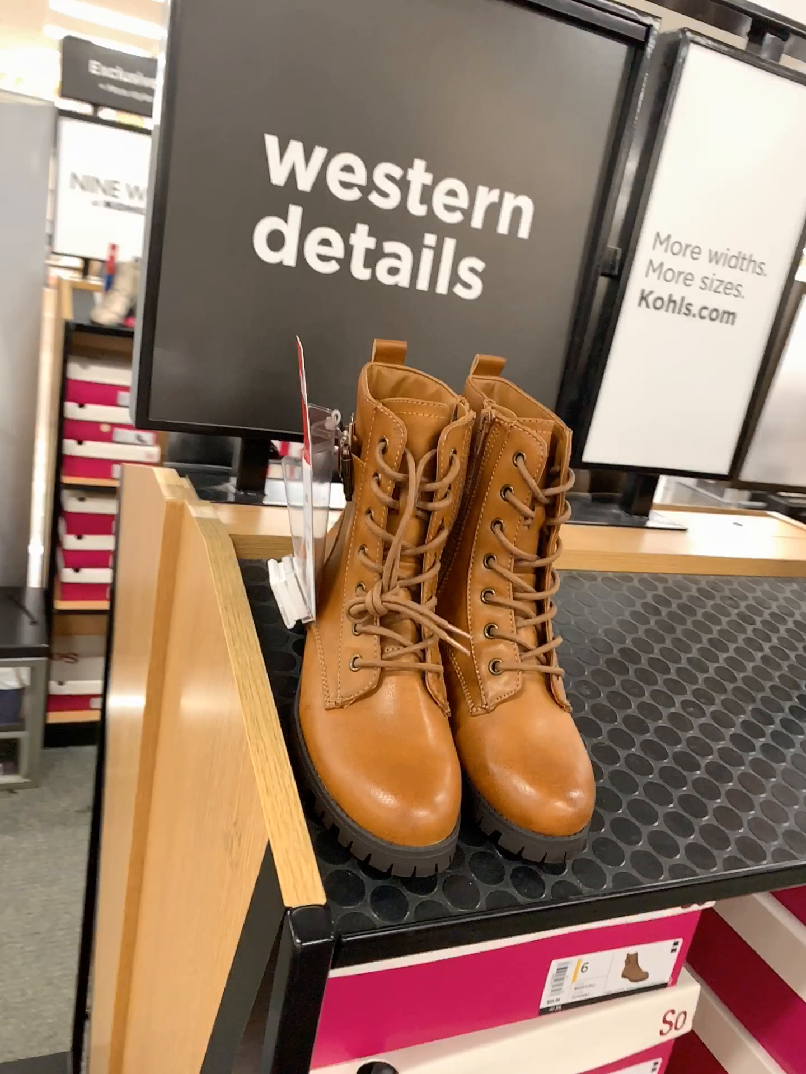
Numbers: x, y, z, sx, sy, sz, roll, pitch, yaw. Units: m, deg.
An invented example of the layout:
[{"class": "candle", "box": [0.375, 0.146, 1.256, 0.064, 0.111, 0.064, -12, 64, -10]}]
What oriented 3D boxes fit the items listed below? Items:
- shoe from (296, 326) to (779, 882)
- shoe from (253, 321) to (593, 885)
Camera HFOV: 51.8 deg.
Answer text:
[{"class": "shoe", "box": [0.047, 0.012, 0.519, 0.110, 0.229, 0.287, 2, 20, -27]}, {"class": "shoe", "box": [-0.018, 0.011, 0.490, 0.090, 0.229, 0.277, 6, 18, -17]}]
